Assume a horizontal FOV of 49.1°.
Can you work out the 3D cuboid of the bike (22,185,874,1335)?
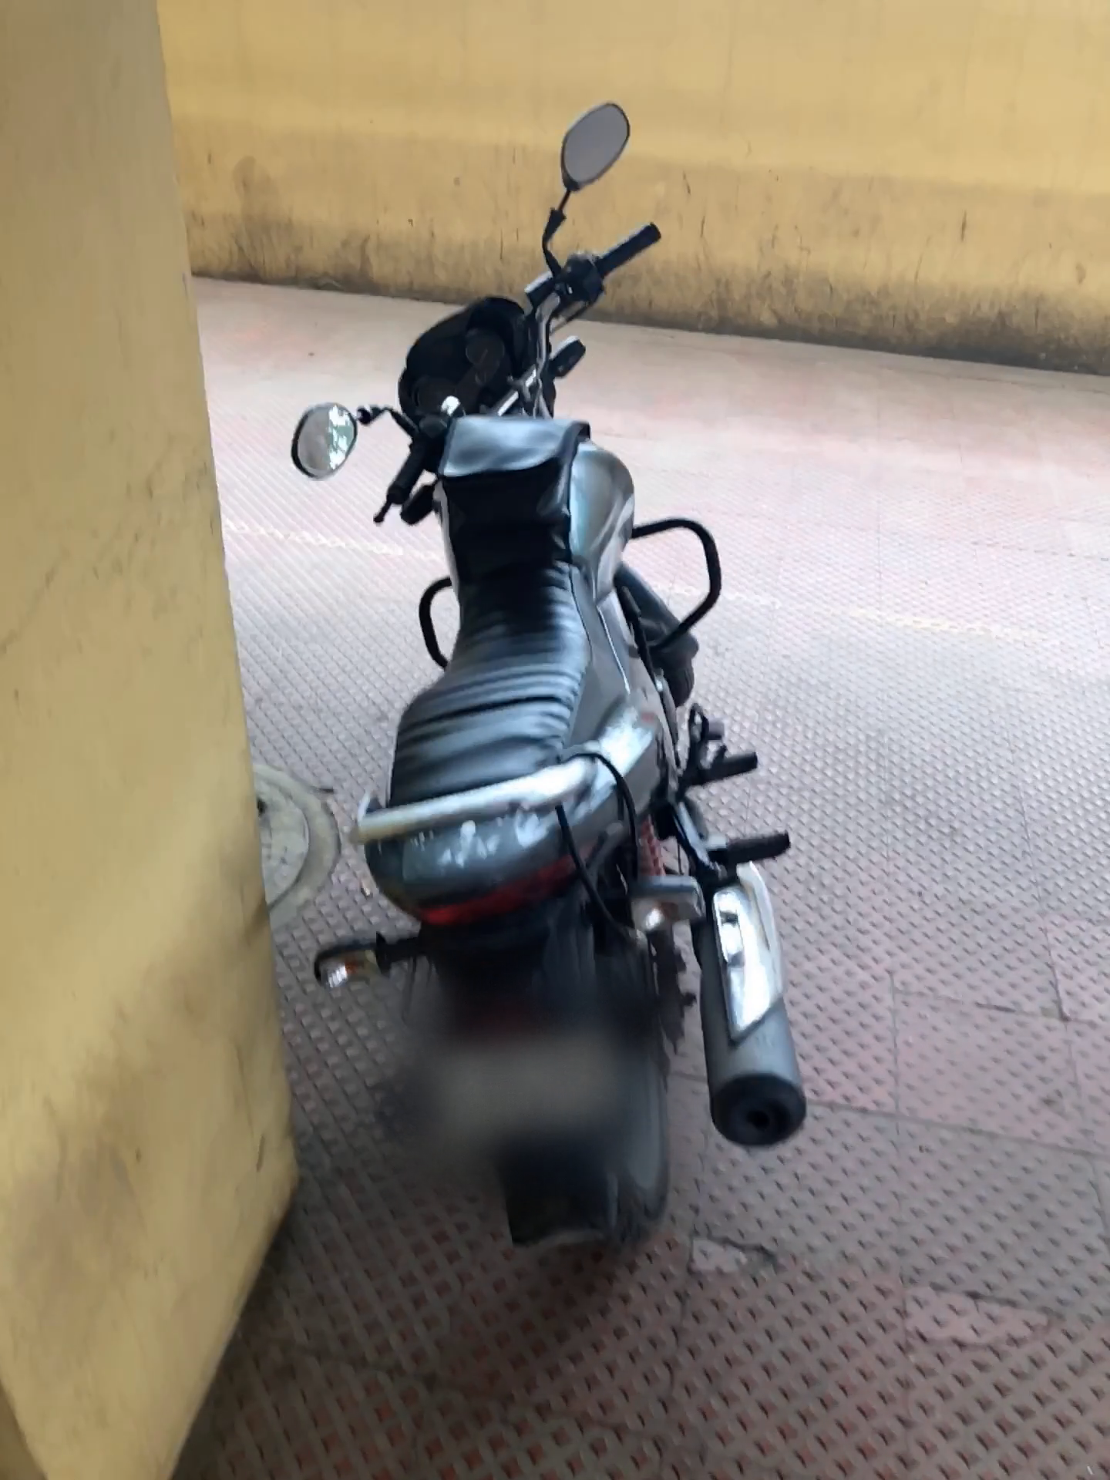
[{"bbox_3d":[-0.168,-0.102,1.956,0.720,1.165,1.478,0,34,-4],"label":"bike"}]
